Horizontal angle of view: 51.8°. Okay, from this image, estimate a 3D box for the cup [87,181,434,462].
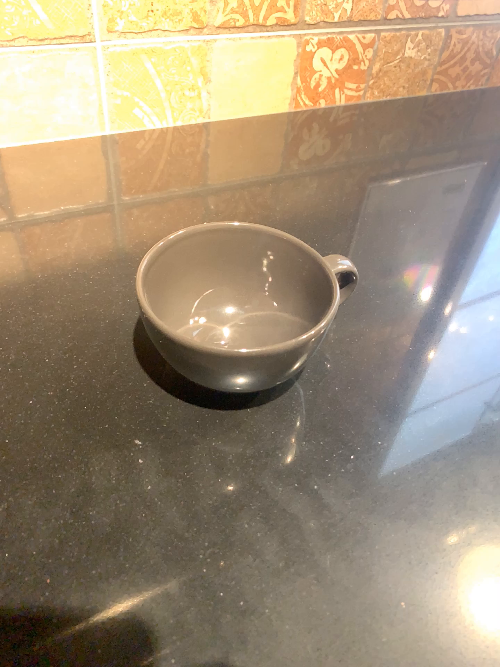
[{"bbox_3d":[0.002,-0.018,0.283,0.140,0.060,0.110,-20,50,-24],"label":"cup"}]
